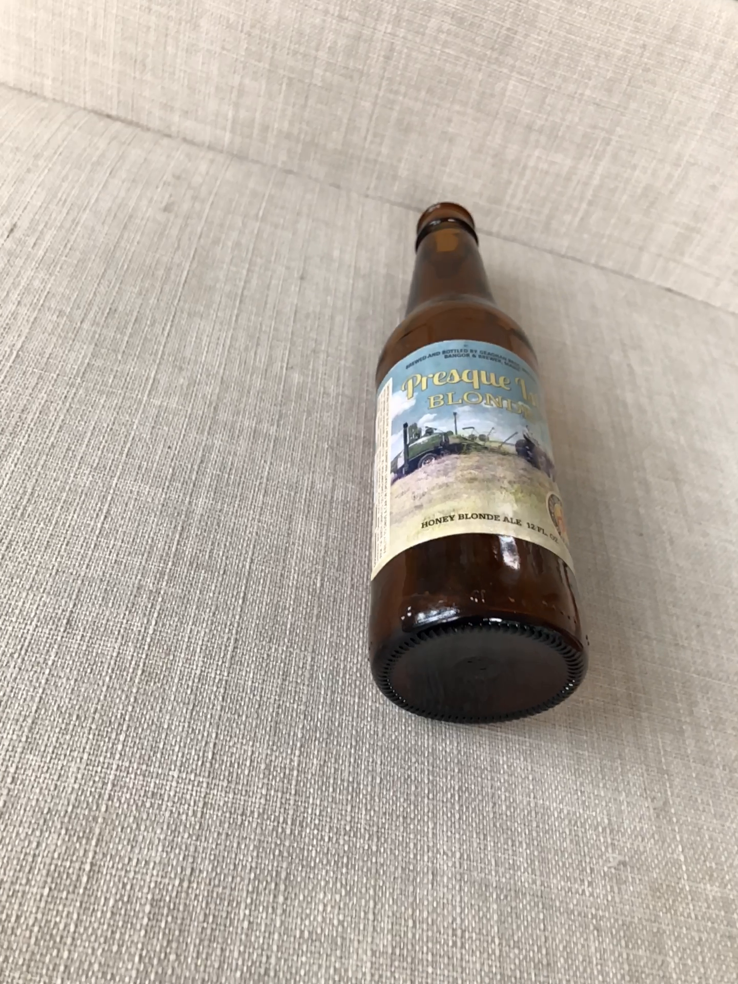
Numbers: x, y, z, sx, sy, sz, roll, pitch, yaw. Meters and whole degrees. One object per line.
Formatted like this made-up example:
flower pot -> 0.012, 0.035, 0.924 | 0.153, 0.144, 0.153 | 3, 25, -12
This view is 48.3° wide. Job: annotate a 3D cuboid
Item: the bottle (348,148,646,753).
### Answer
bottle -> 0.034, -0.034, 0.289 | 0.065, 0.060, 0.232 | 5, 48, -2
